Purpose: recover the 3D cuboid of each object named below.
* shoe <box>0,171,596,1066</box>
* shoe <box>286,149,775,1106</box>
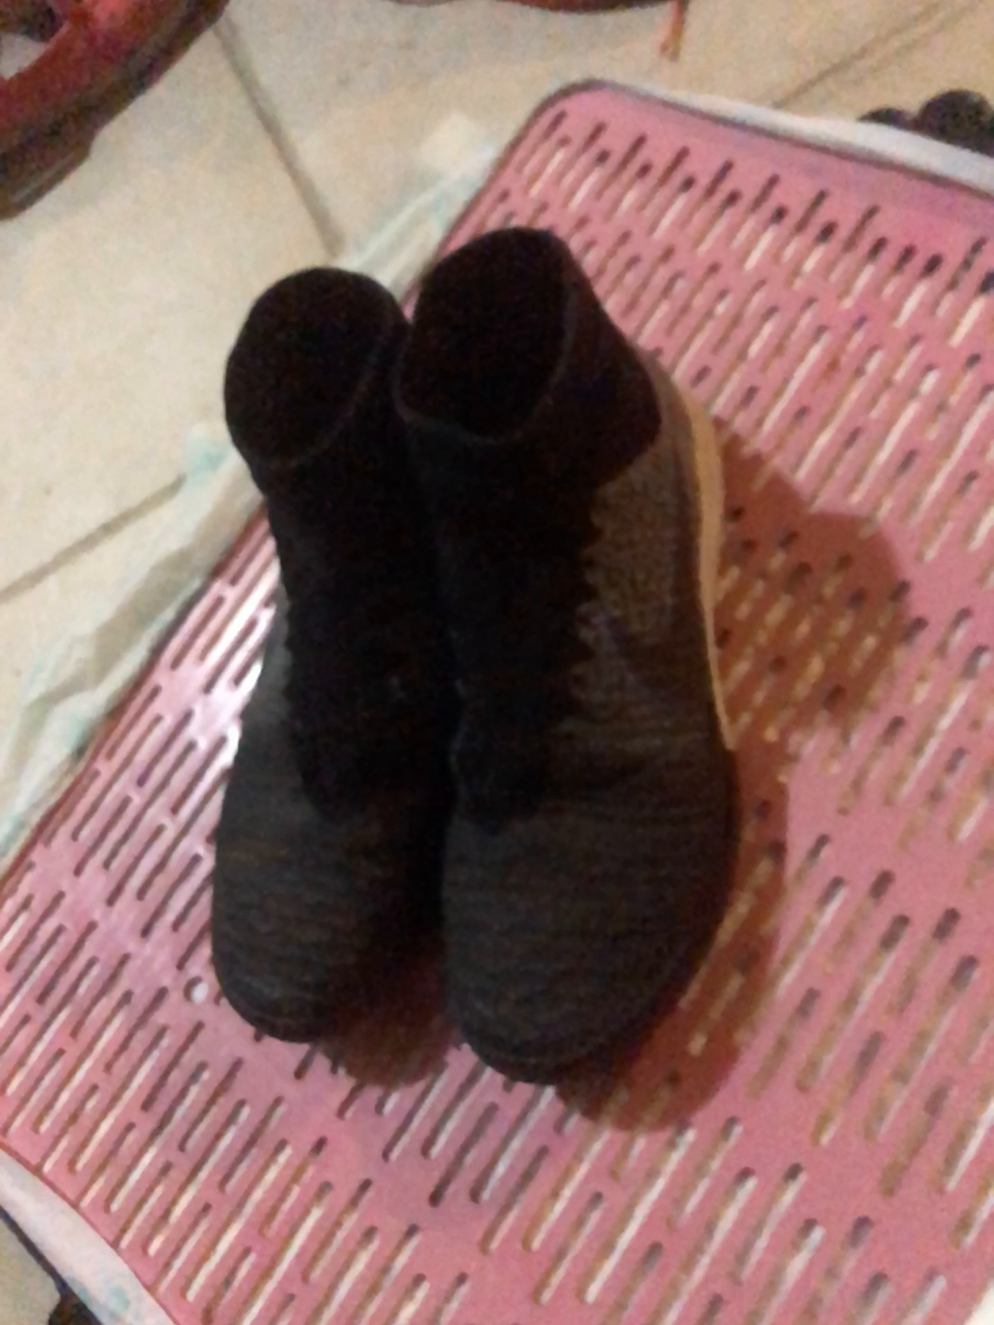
[{"bbox_3d":[-0.054,-0.009,0.399,0.100,0.150,0.270,6,72,21],"label":"shoe"},{"bbox_3d":[0.031,-0.001,0.365,0.100,0.150,0.260,-1,70,19],"label":"shoe"}]
